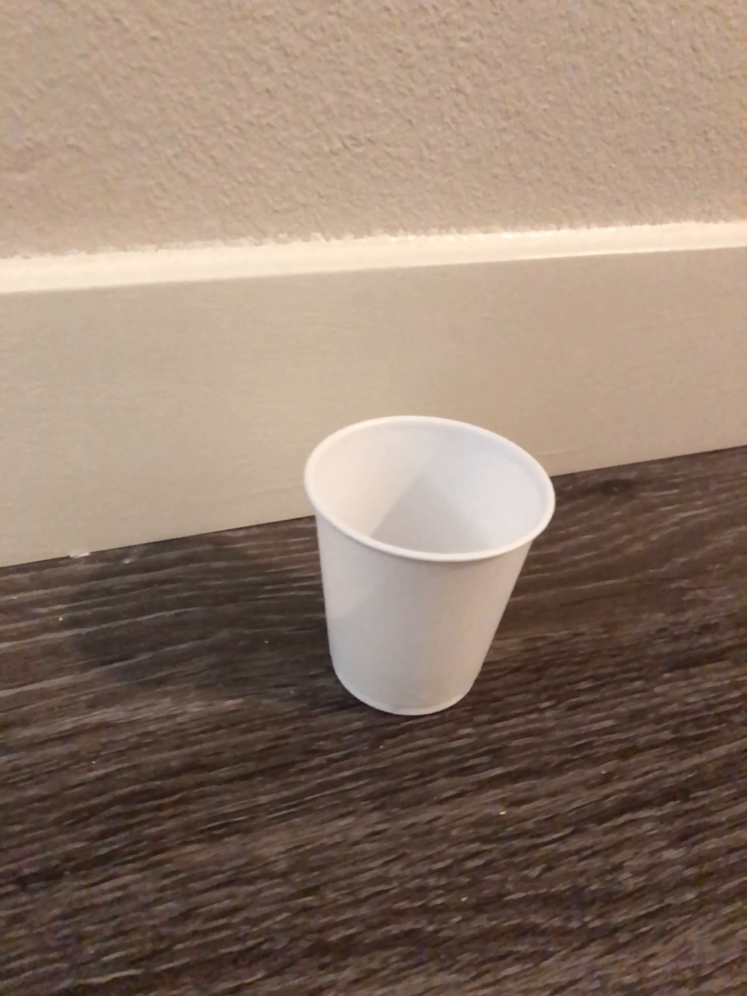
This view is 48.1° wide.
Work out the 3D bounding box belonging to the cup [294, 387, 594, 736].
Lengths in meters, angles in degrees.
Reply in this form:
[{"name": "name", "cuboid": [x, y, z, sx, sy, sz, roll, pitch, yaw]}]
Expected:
[{"name": "cup", "cuboid": [0.013, 0.015, 0.211, 0.060, 0.060, 0.060, 4, 35, -2]}]
